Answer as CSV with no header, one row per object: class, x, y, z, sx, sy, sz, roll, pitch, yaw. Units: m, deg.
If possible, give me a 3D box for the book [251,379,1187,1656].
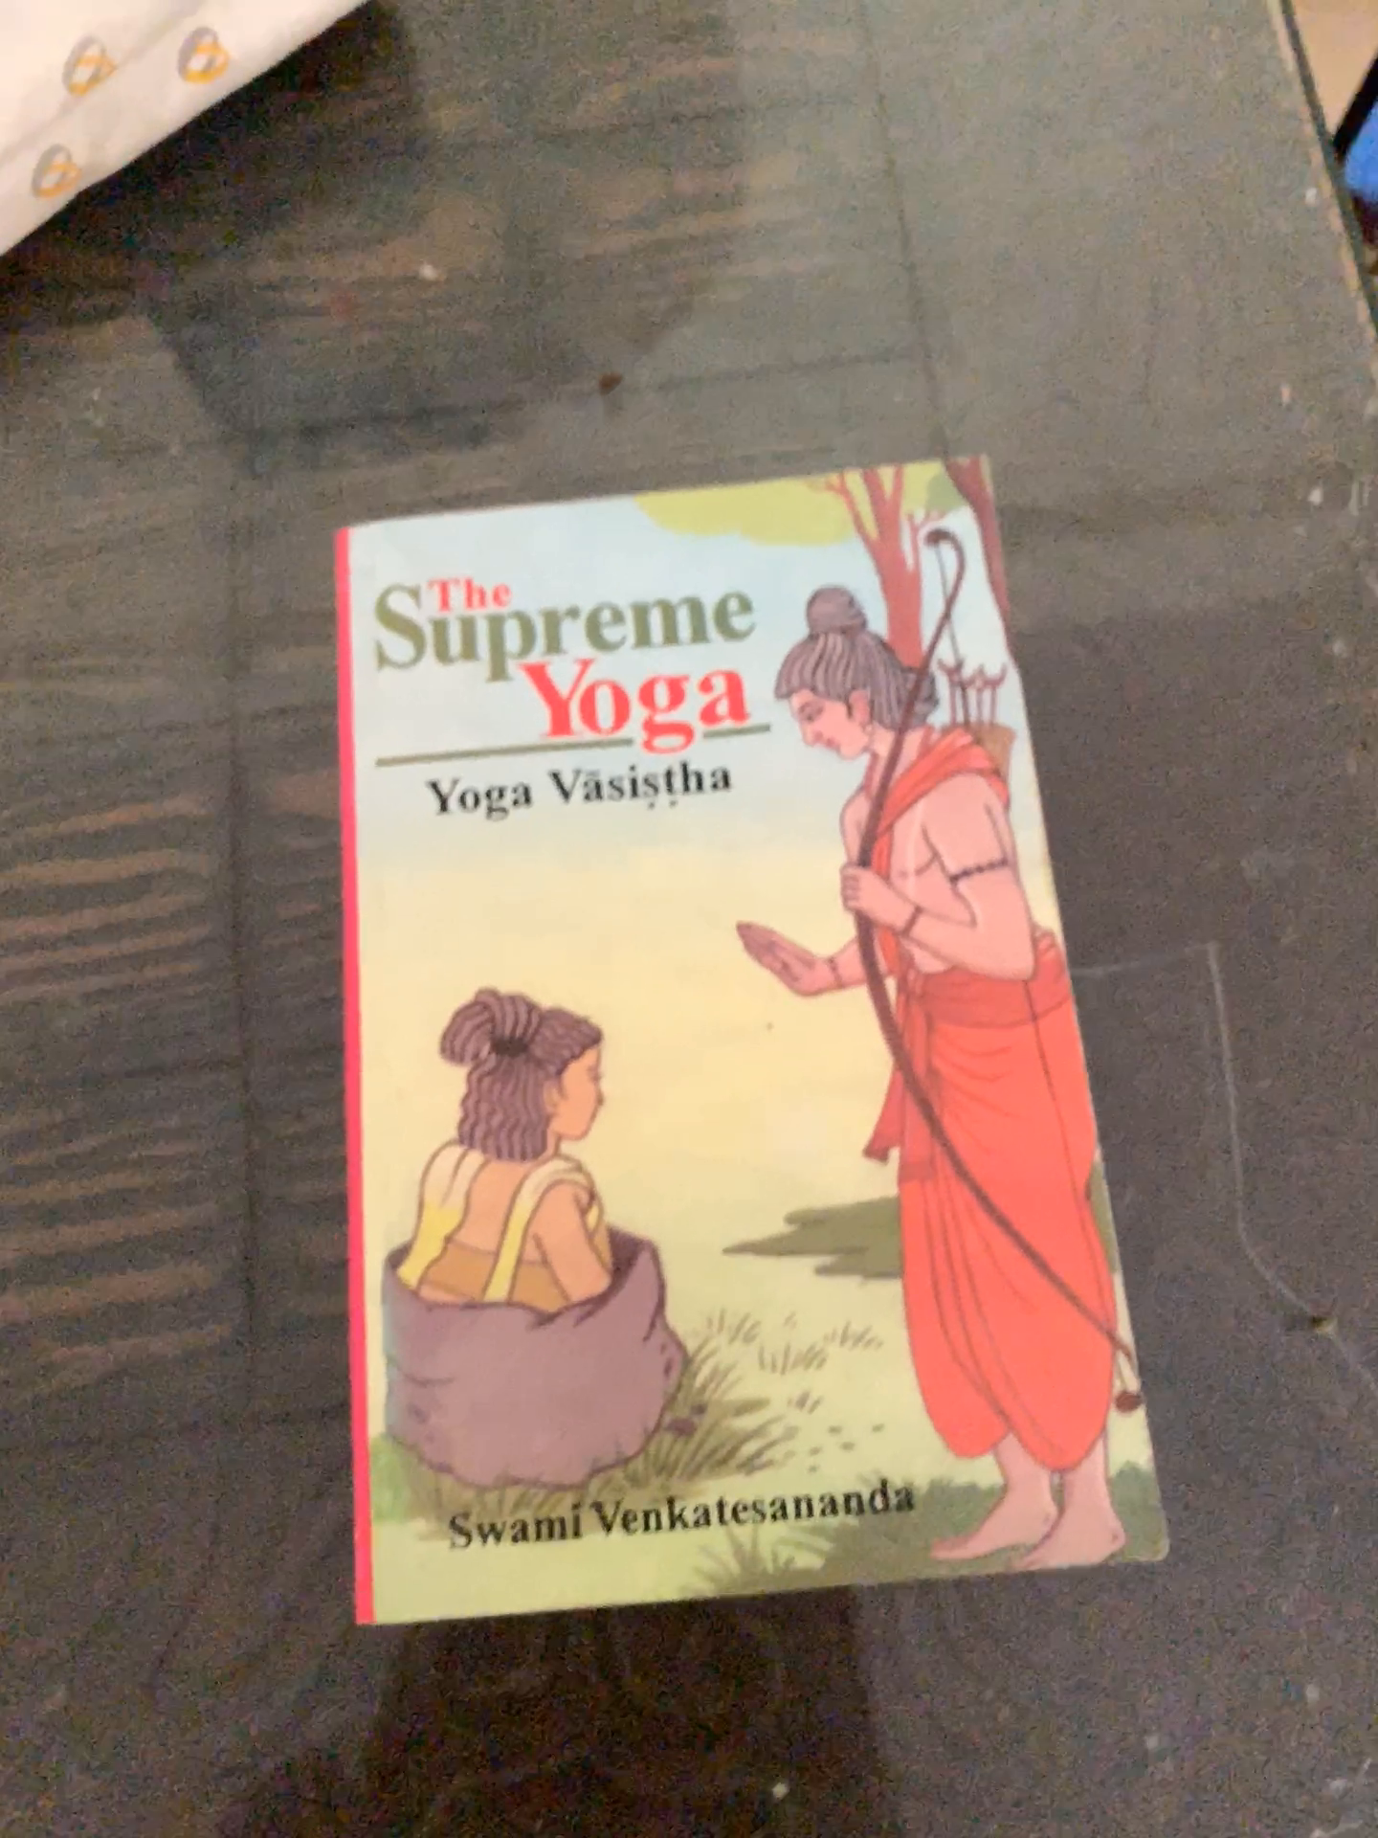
book,-0.005,0.008,0.263,0.140,0.030,0.210,-6,73,2
